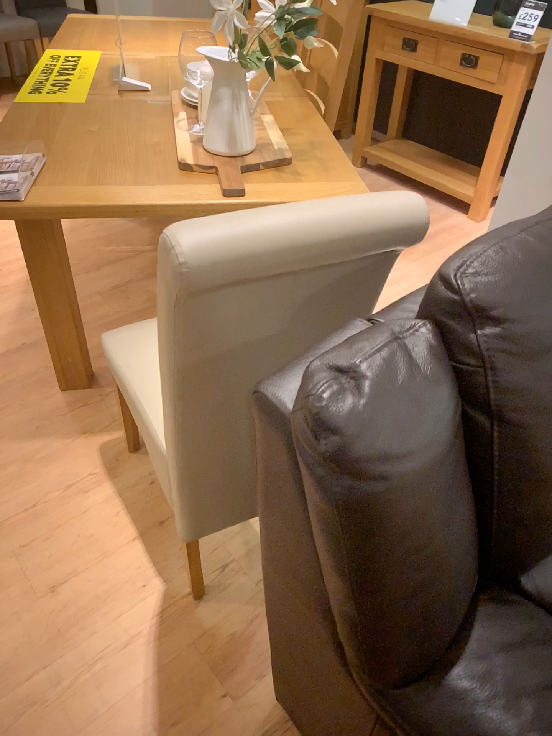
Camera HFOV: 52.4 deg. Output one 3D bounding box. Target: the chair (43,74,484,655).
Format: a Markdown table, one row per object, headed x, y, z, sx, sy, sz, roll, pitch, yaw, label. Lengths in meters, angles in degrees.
| x | y | z | sx | sy | sz | roll | pitch | yaw | label |
| --- | --- | --- | --- | --- | --- | --- | --- | --- | --- |
| -0.097 | -0.003 | 1.174 | 0.476 | 0.943 | 0.639 | -14 | 44 | -20 | chair |
